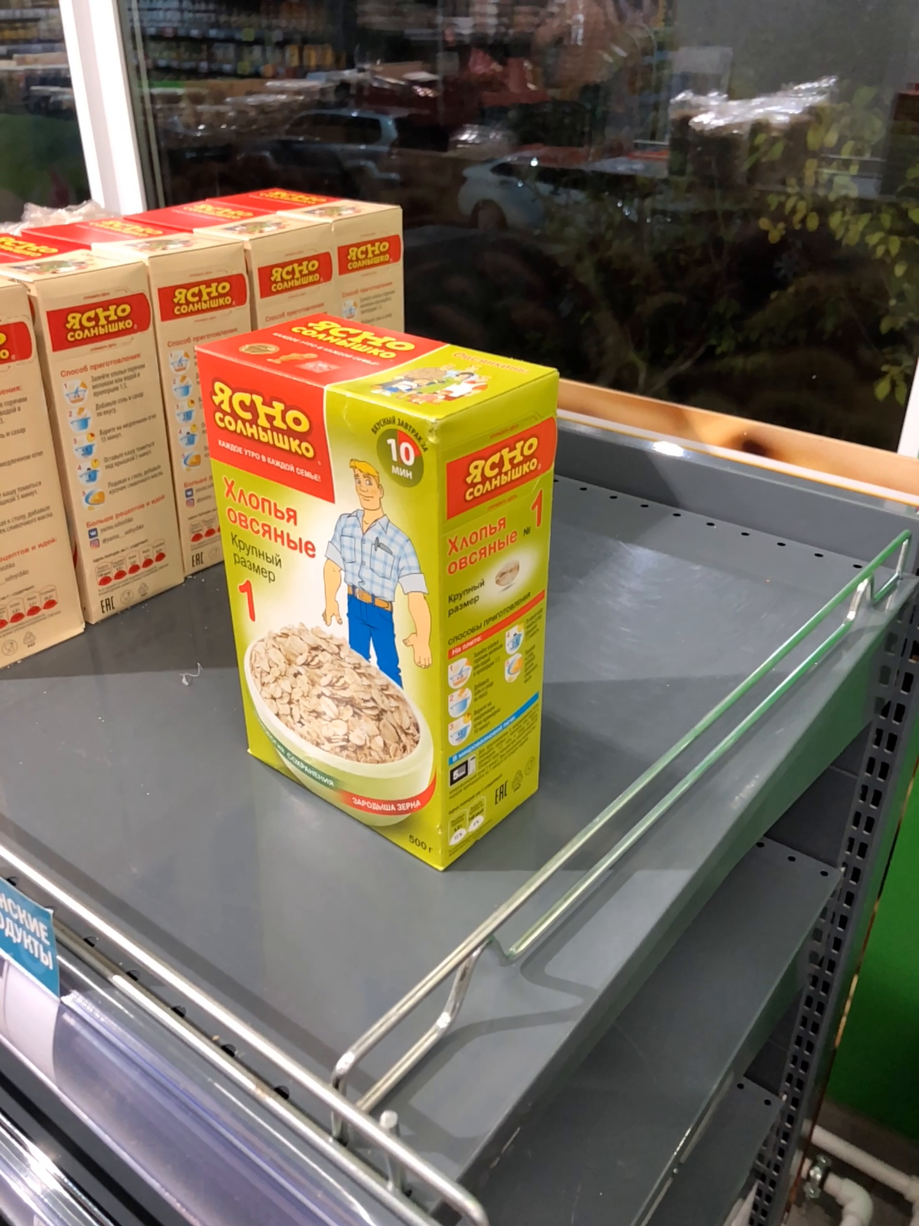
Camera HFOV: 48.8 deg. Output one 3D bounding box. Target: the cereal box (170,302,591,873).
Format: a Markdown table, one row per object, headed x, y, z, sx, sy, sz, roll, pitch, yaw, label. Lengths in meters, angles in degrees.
| x | y | z | sx | sy | sz | roll | pitch | yaw | label |
| --- | --- | --- | --- | --- | --- | --- | --- | --- | --- |
| -0.031 | -0.015 | 0.405 | 0.130 | 0.179 | 0.080 | 23 | 37 | 33 | cereal box |
